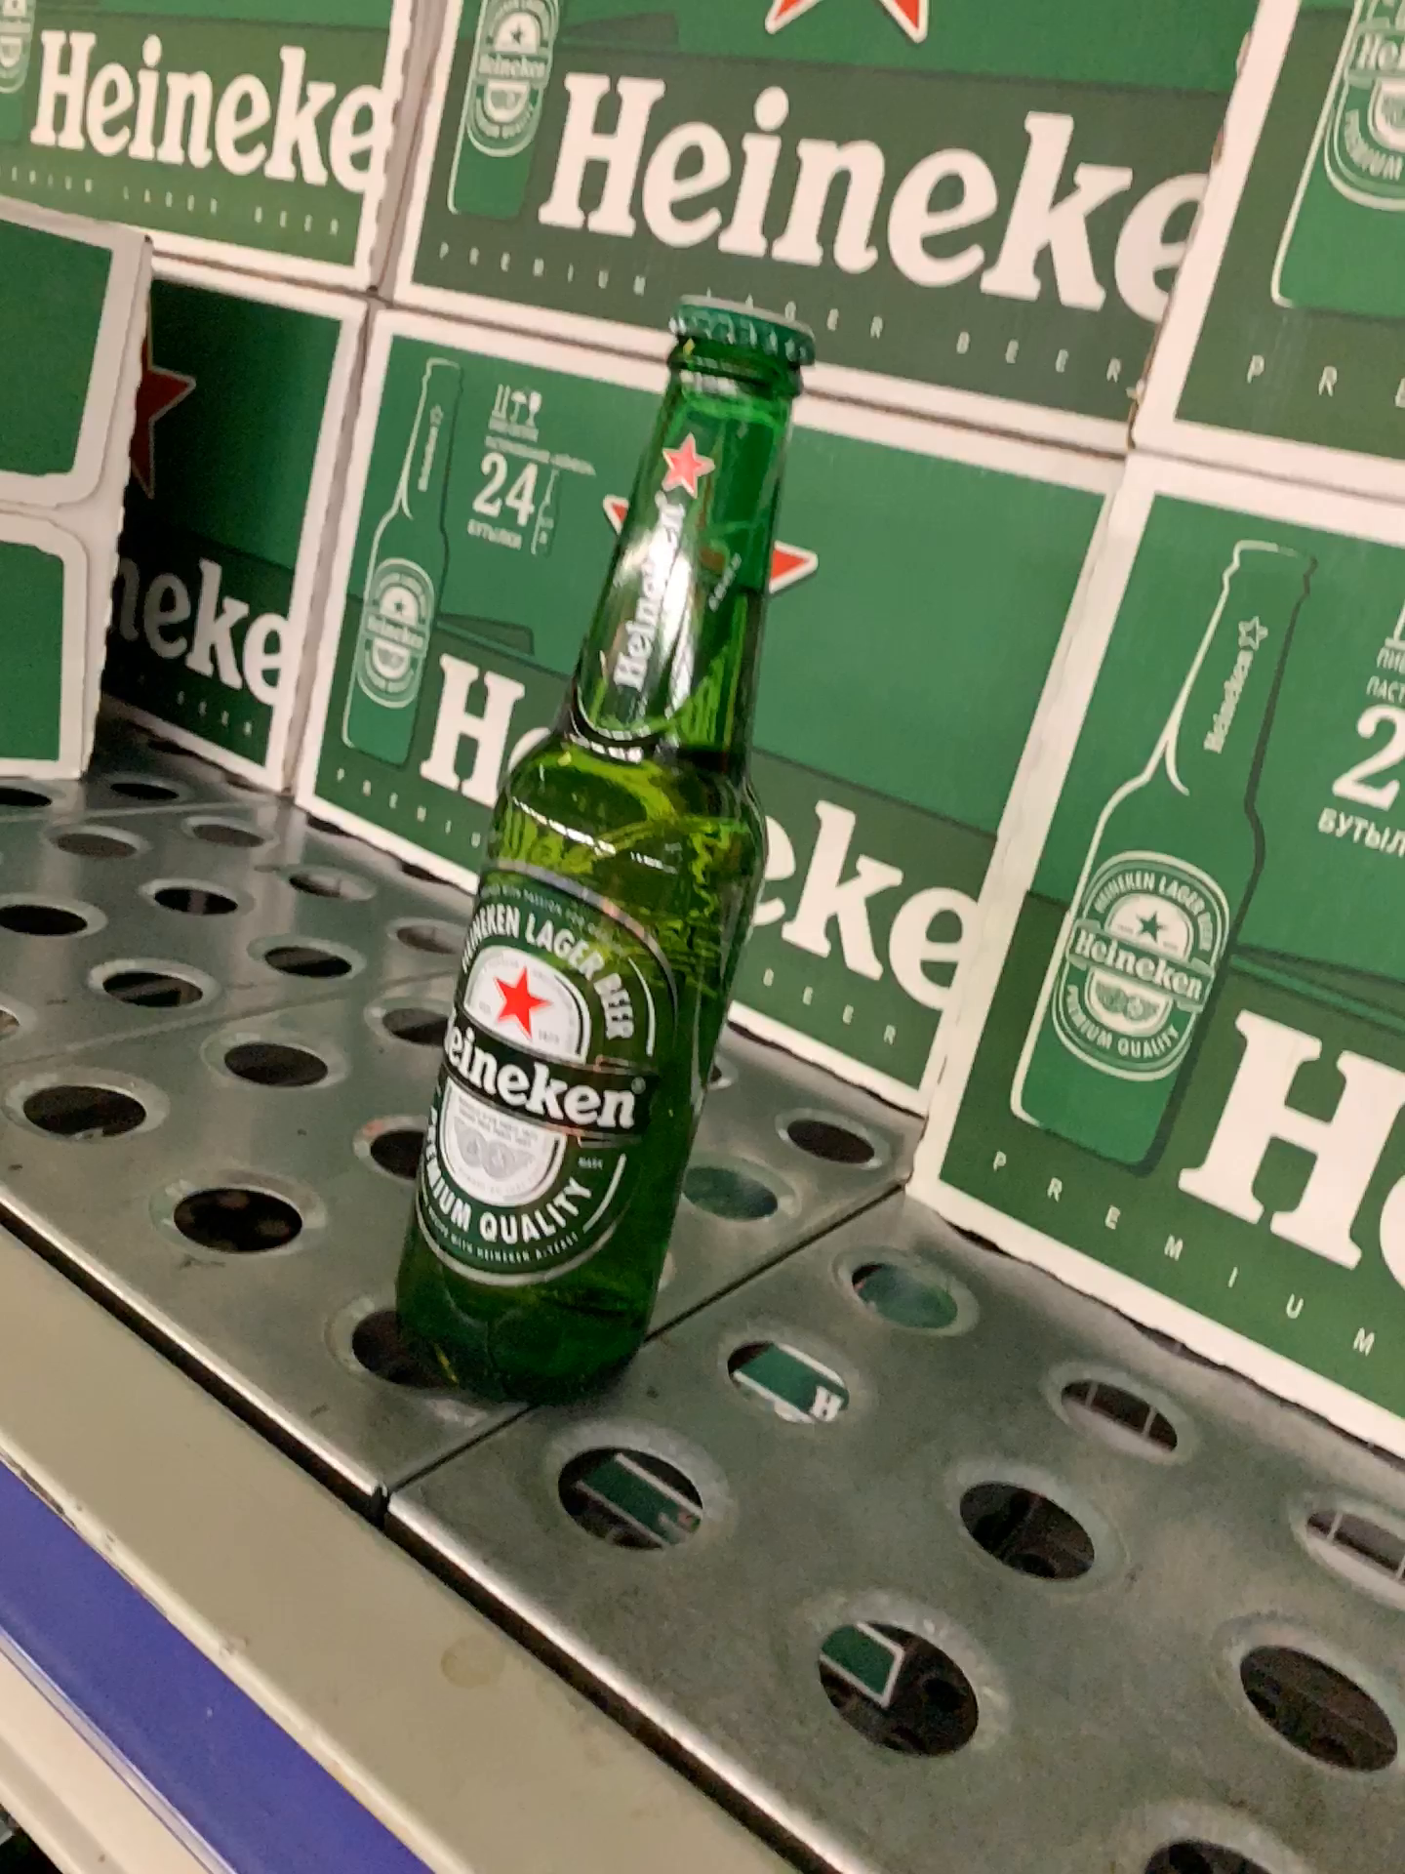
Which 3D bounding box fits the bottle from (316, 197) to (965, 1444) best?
[{"bbox_3d":[-0.017,-0.018,0.298,0.060,0.225,0.060,13,17,-4],"label":"bottle"}]
